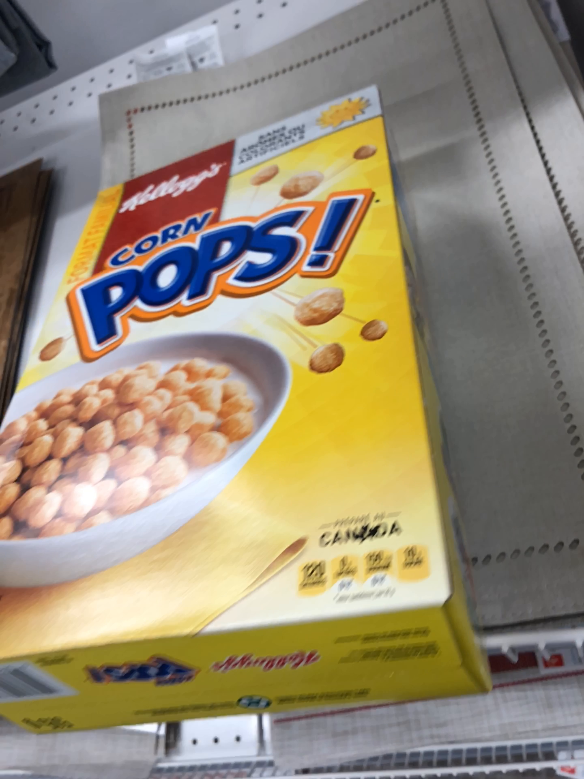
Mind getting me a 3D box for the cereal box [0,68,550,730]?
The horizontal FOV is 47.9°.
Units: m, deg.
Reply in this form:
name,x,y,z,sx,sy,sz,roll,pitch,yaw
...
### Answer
name,x,y,z,sx,sy,sz,roll,pitch,yaw
cereal box,-0.026,-0.026,0.350,0.220,0.080,0.341,-13,46,13
